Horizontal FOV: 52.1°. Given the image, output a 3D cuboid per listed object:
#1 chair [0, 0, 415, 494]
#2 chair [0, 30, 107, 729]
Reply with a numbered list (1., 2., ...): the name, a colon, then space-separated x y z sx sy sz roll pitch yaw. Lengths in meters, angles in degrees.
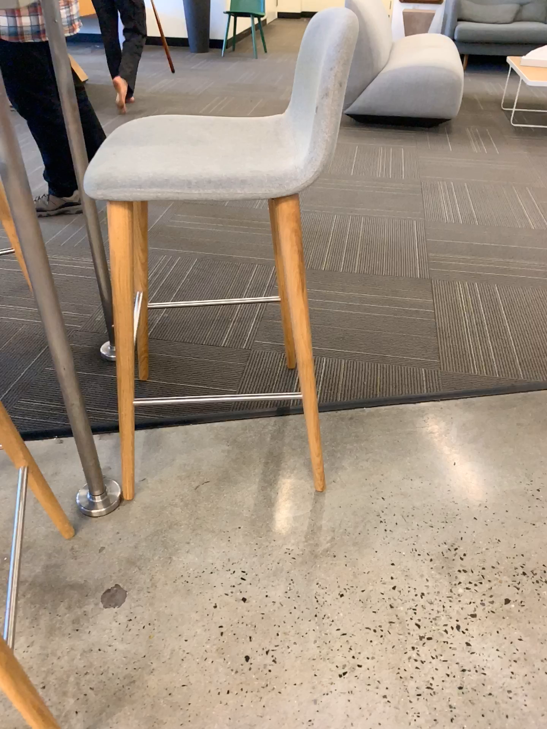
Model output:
1. chair: -0.116 -0.373 1.450 0.580 0.974 0.966 -1 37 -2
2. chair: -0.578 0.129 0.729 0.550 0.914 0.574 -7 37 -11
